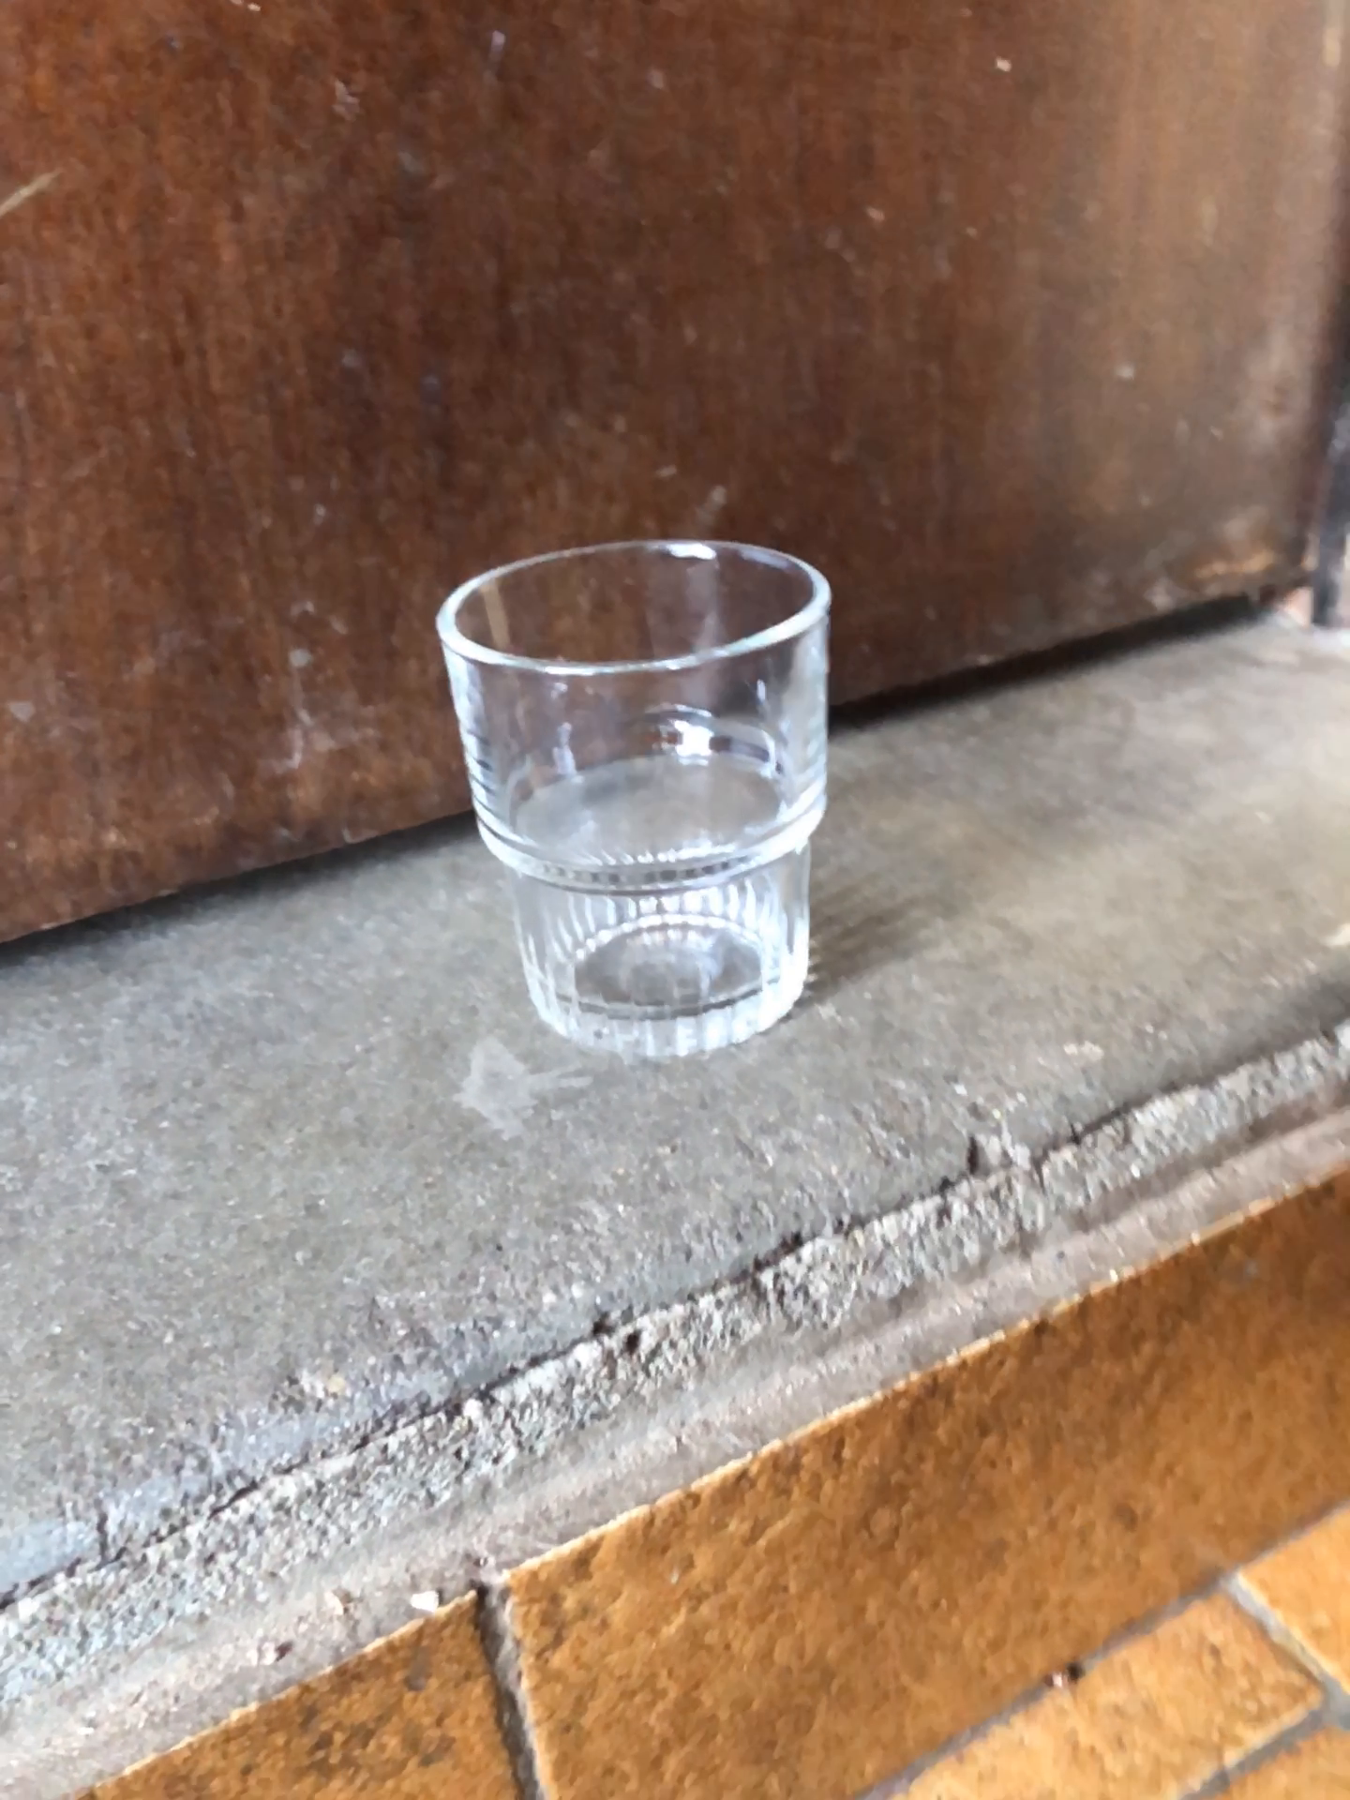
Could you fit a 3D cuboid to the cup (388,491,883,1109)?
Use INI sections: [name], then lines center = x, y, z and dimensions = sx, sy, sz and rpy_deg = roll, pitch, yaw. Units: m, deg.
[cup]
center = -0.008, -0.022, 0.272
dimensions = 0.070, 0.080, 0.070
rpy_deg = -3, 29, 2
